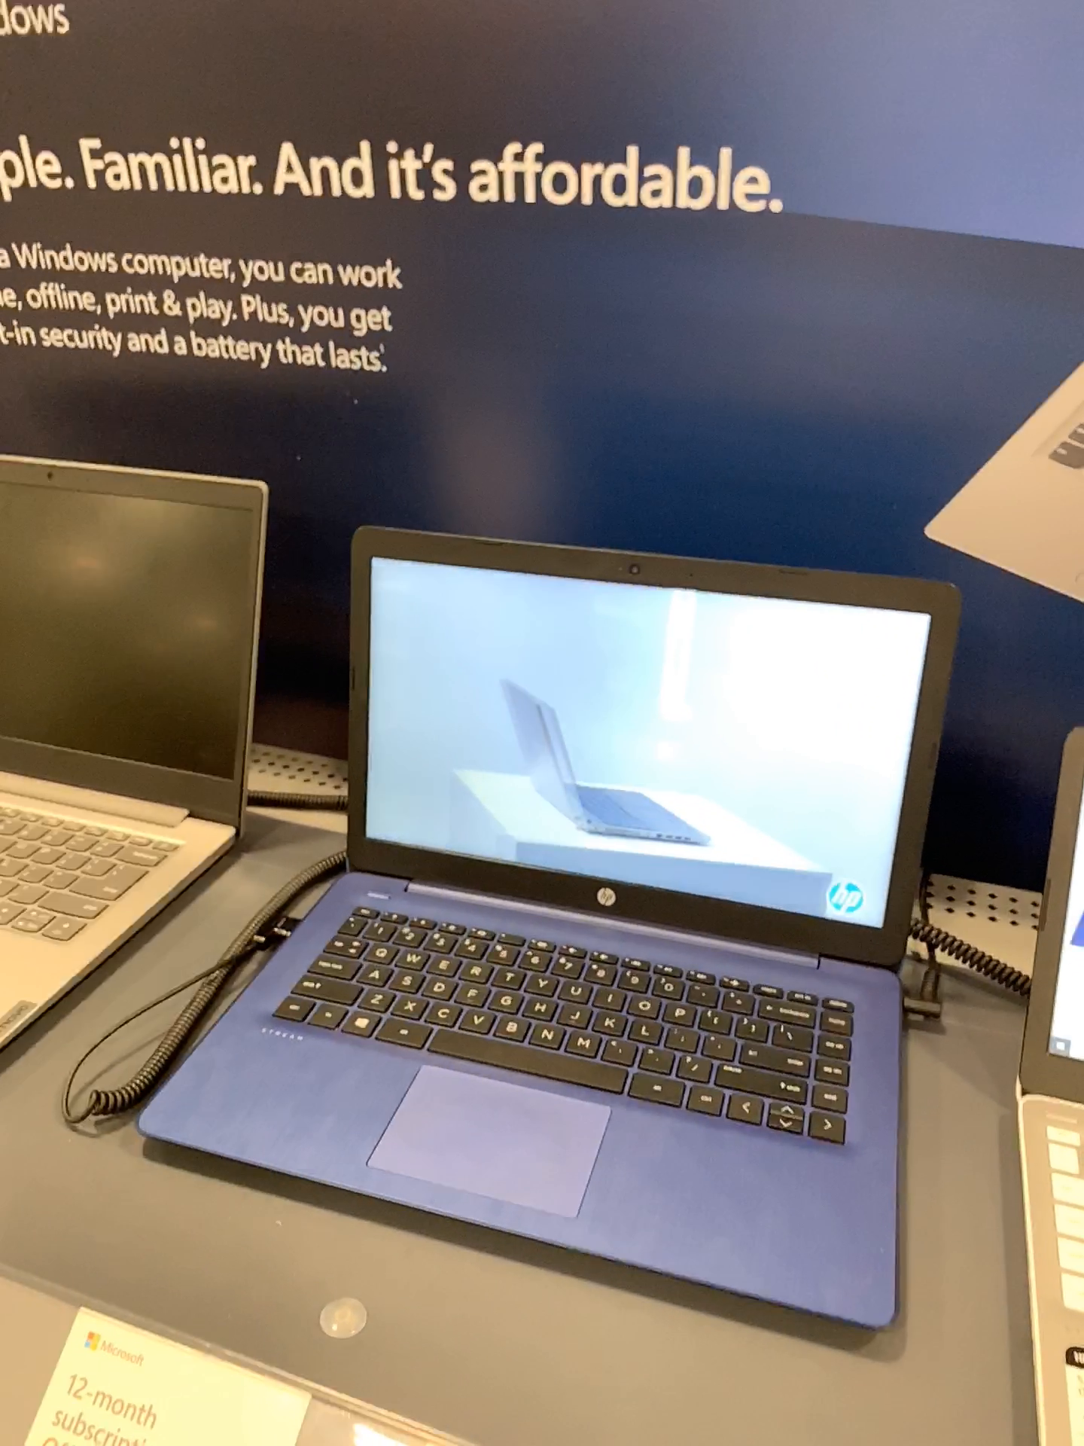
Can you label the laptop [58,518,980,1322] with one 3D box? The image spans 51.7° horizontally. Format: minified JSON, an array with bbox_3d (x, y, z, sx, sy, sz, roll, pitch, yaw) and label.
[{"bbox_3d":[0.010,0.056,0.528,0.322,0.208,0.253,9,27,13],"label":"laptop"}]
